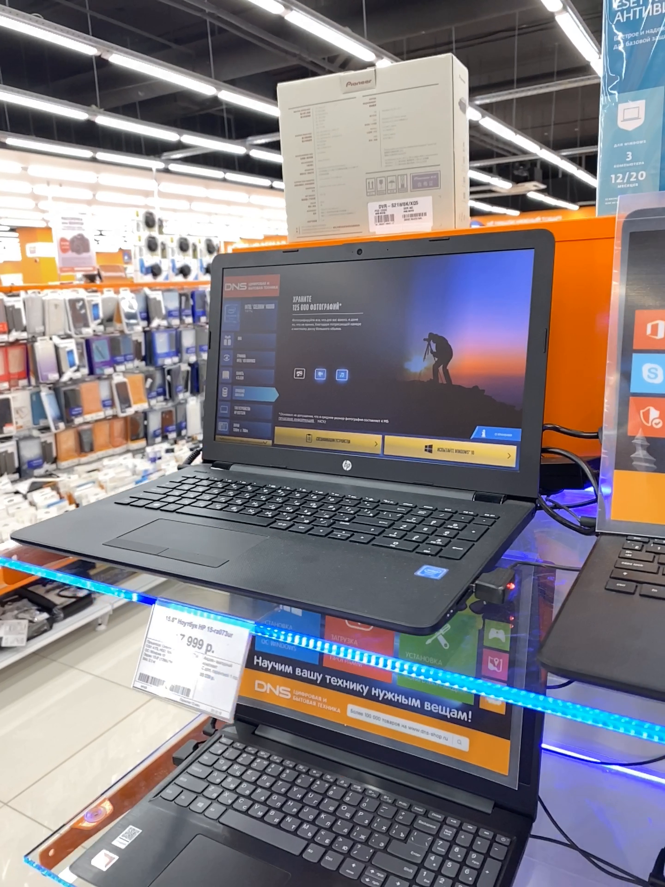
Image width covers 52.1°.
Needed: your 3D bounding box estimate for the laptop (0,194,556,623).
[{"bbox_3d":[-0.035,-0.059,0.607,0.389,0.236,0.322,5,14,30],"label":"laptop"}]
